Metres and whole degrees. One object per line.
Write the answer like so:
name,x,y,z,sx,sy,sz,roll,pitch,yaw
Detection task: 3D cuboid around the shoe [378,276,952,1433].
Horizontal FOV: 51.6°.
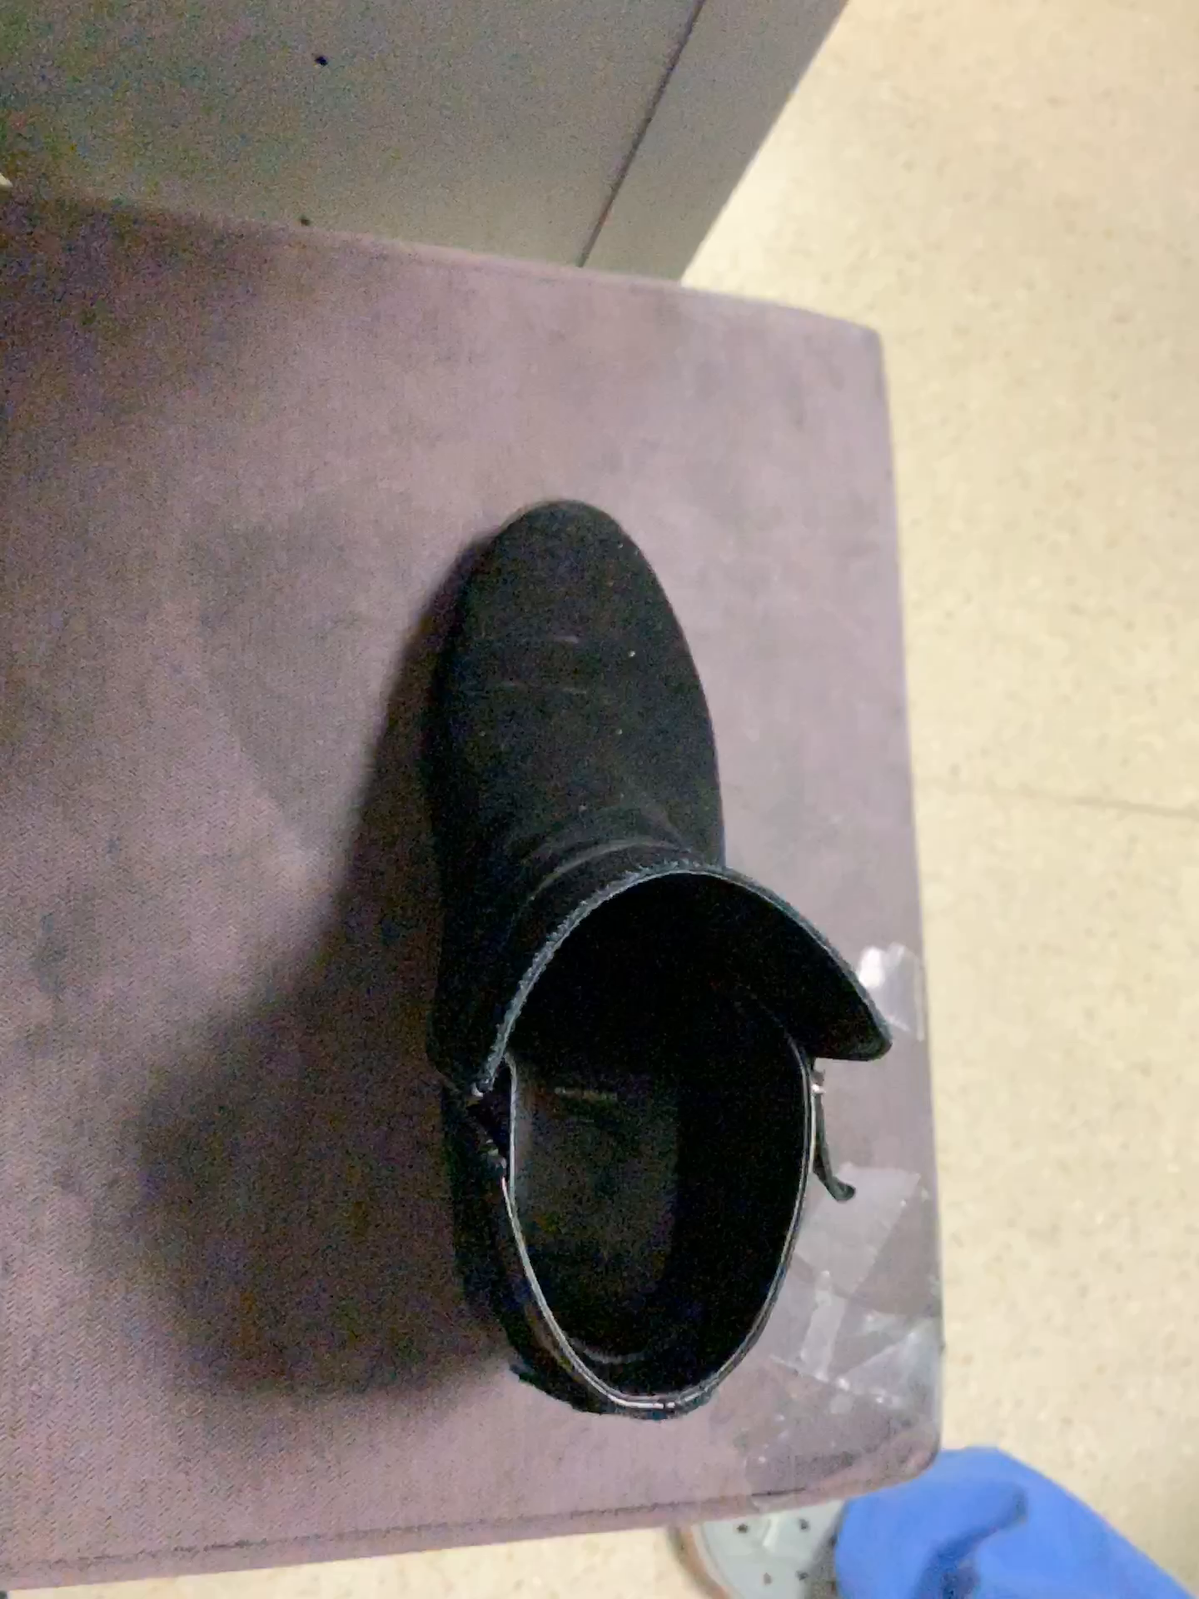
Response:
shoe,0.006,0.016,0.327,0.100,0.138,0.235,4,77,-15
